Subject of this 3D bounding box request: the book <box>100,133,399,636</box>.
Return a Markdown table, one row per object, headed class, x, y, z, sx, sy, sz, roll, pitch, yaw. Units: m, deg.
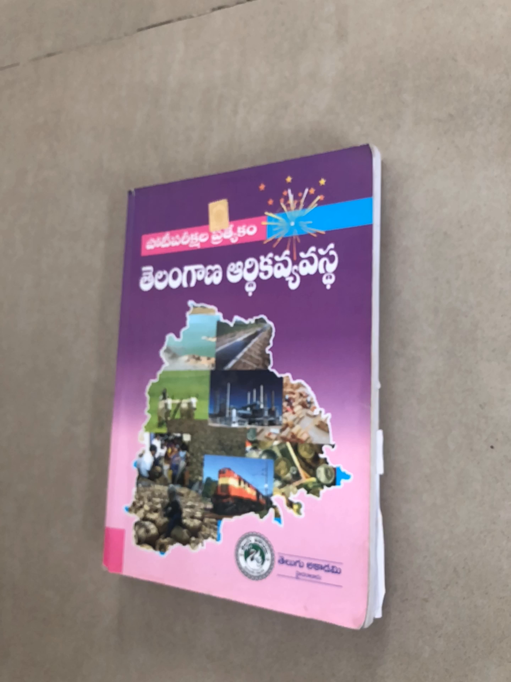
| class | x | y | z | sx | sy | sz | roll | pitch | yaw |
| --- | --- | --- | --- | --- | --- | --- | --- | --- | --- |
| book | -0.009 | 0.022 | 0.369 | 0.192 | 0.040 | 0.268 | -1 | 85 | 28 |
